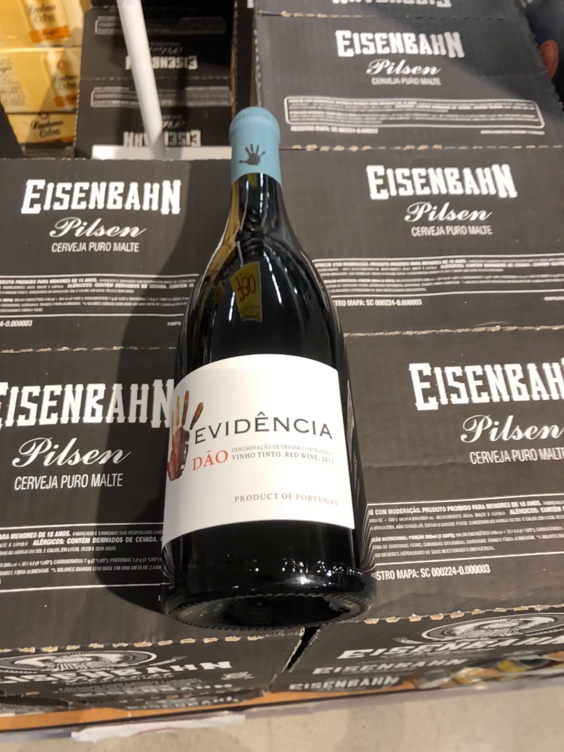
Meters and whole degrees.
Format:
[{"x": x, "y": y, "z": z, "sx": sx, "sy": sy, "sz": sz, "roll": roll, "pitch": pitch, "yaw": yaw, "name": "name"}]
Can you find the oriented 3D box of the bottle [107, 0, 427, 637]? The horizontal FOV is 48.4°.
[{"x": -0.014, "y": -0.055, "z": 0.313, "sx": 0.100, "sy": 0.090, "sz": 0.331, "roll": -2, "pitch": 62, "yaw": -3, "name": "bottle"}]
